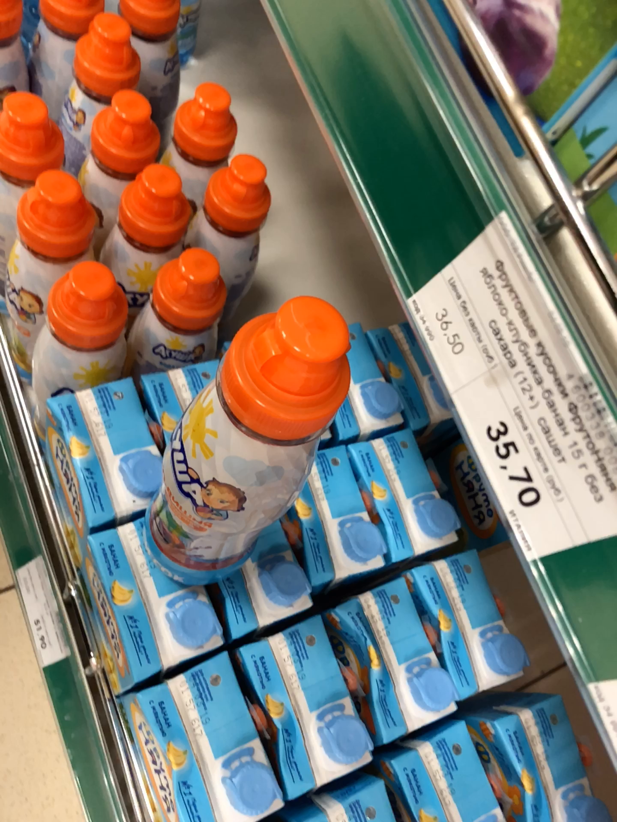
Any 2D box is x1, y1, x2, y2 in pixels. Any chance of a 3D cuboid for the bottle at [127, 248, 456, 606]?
[{"bbox_3d":[-0.024,0.021,0.276,0.056,0.191,0.054,10,60,-18],"label":"bottle"}]
